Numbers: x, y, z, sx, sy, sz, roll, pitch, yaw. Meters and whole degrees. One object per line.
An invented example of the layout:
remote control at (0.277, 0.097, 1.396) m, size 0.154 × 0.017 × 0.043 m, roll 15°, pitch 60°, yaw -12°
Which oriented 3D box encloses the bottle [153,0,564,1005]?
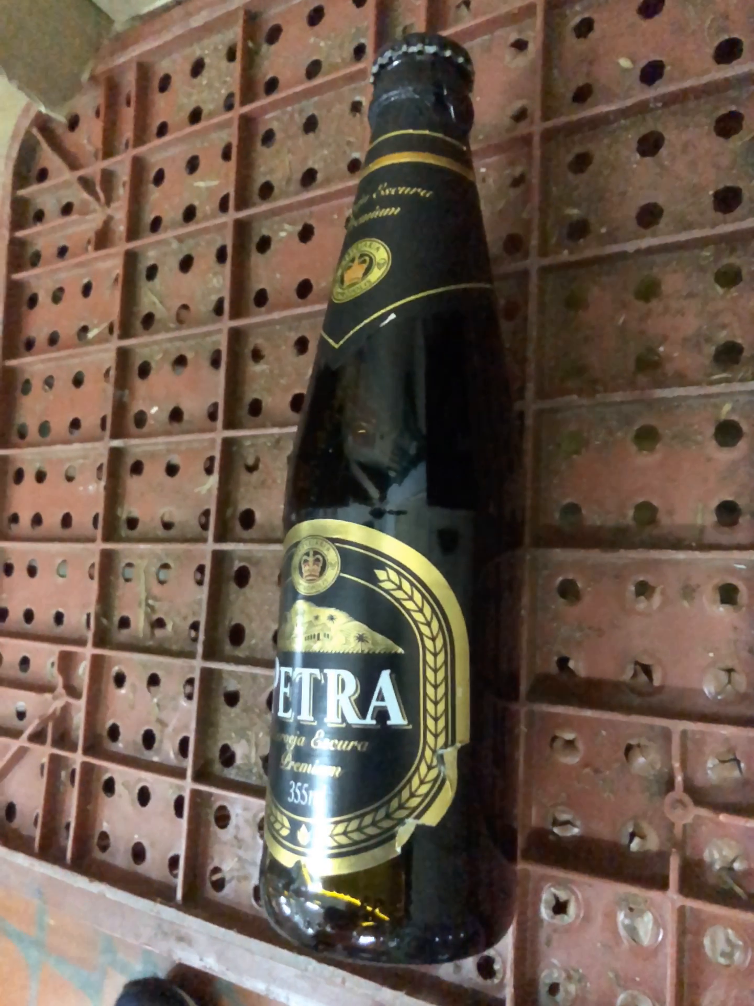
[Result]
bottle at (0.001, -0.015, 0.208) m, size 0.070 × 0.060 × 0.250 m, roll -4°, pitch 79°, yaw 33°
